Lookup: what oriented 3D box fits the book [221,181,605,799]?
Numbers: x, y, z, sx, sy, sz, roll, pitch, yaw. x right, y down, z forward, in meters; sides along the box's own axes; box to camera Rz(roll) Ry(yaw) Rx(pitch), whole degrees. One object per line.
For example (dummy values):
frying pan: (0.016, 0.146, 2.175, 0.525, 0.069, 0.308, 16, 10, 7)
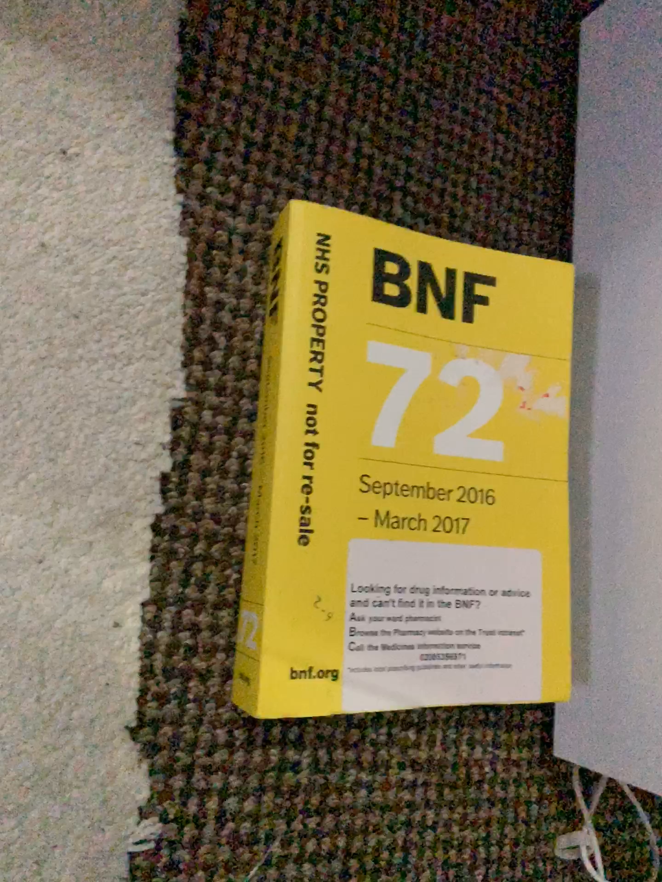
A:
book: (0.043, 0.021, 0.303, 0.161, 0.050, 0.220, 7, 80, -28)
